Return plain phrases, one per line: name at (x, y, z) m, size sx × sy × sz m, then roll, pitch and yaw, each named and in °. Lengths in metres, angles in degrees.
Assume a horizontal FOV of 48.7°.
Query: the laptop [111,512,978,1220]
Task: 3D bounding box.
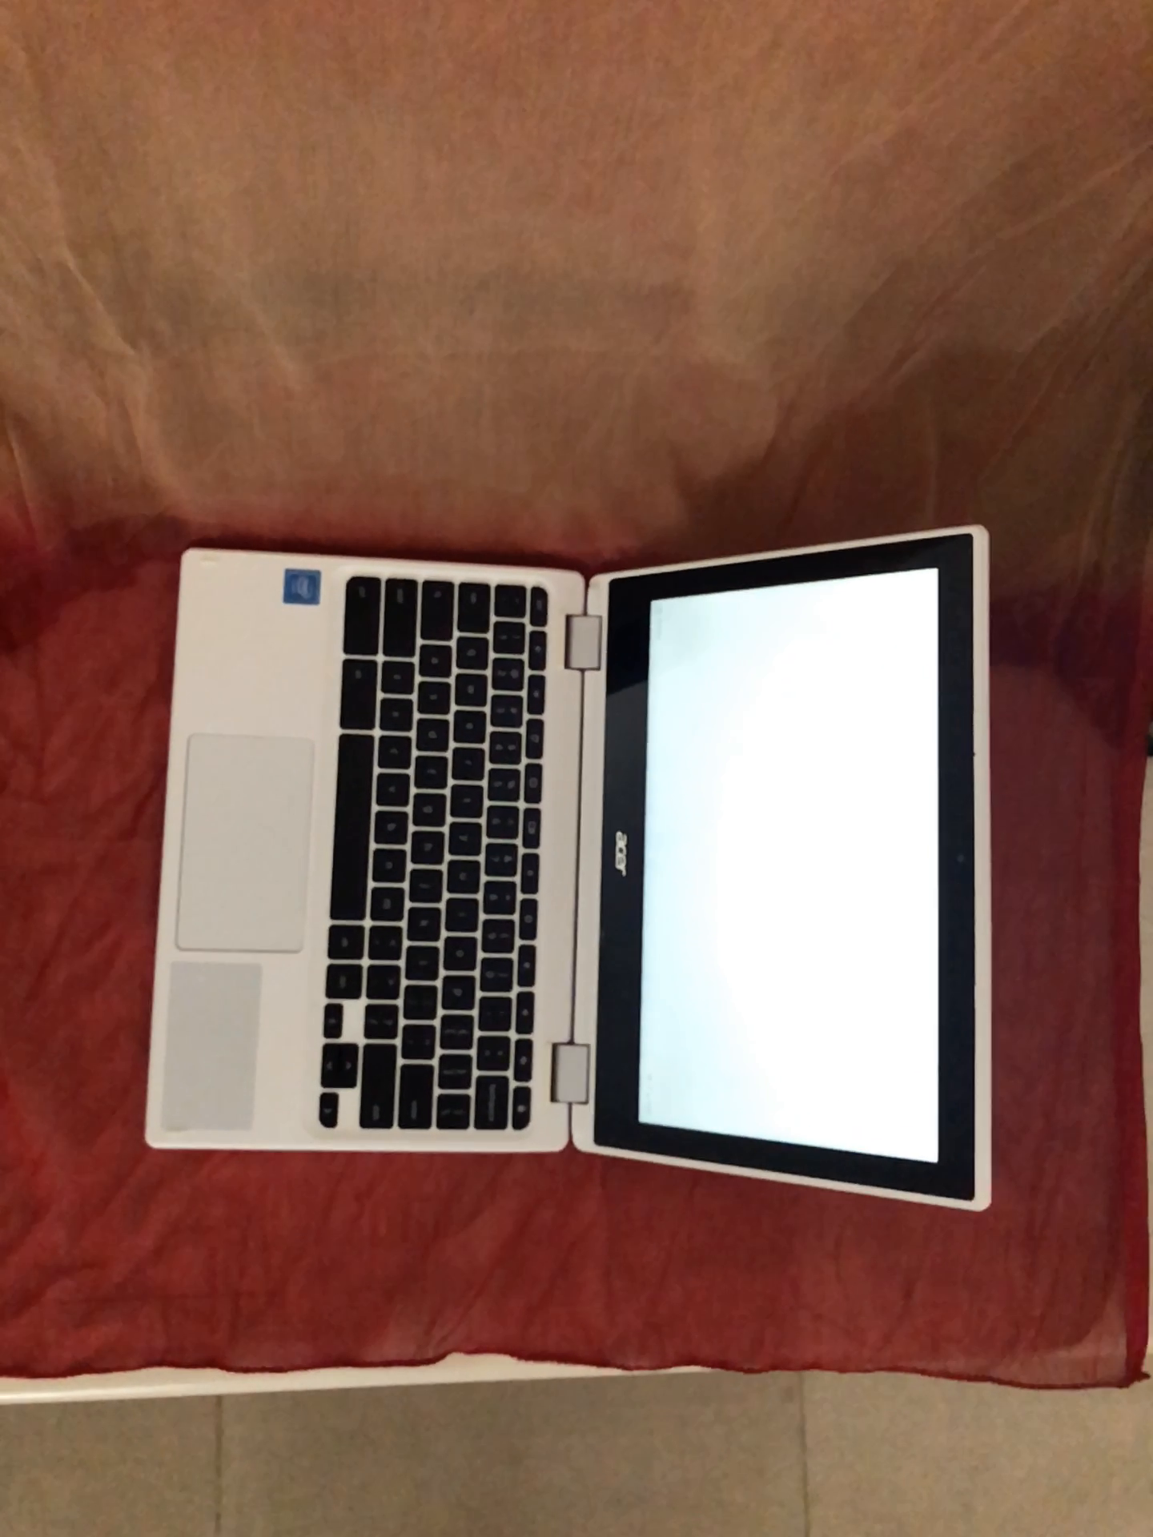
laptop at (-0.009, 0.046, 0.564) m, size 0.337 × 0.113 × 0.263 m, roll 3°, pitch 84°, yaw -5°
